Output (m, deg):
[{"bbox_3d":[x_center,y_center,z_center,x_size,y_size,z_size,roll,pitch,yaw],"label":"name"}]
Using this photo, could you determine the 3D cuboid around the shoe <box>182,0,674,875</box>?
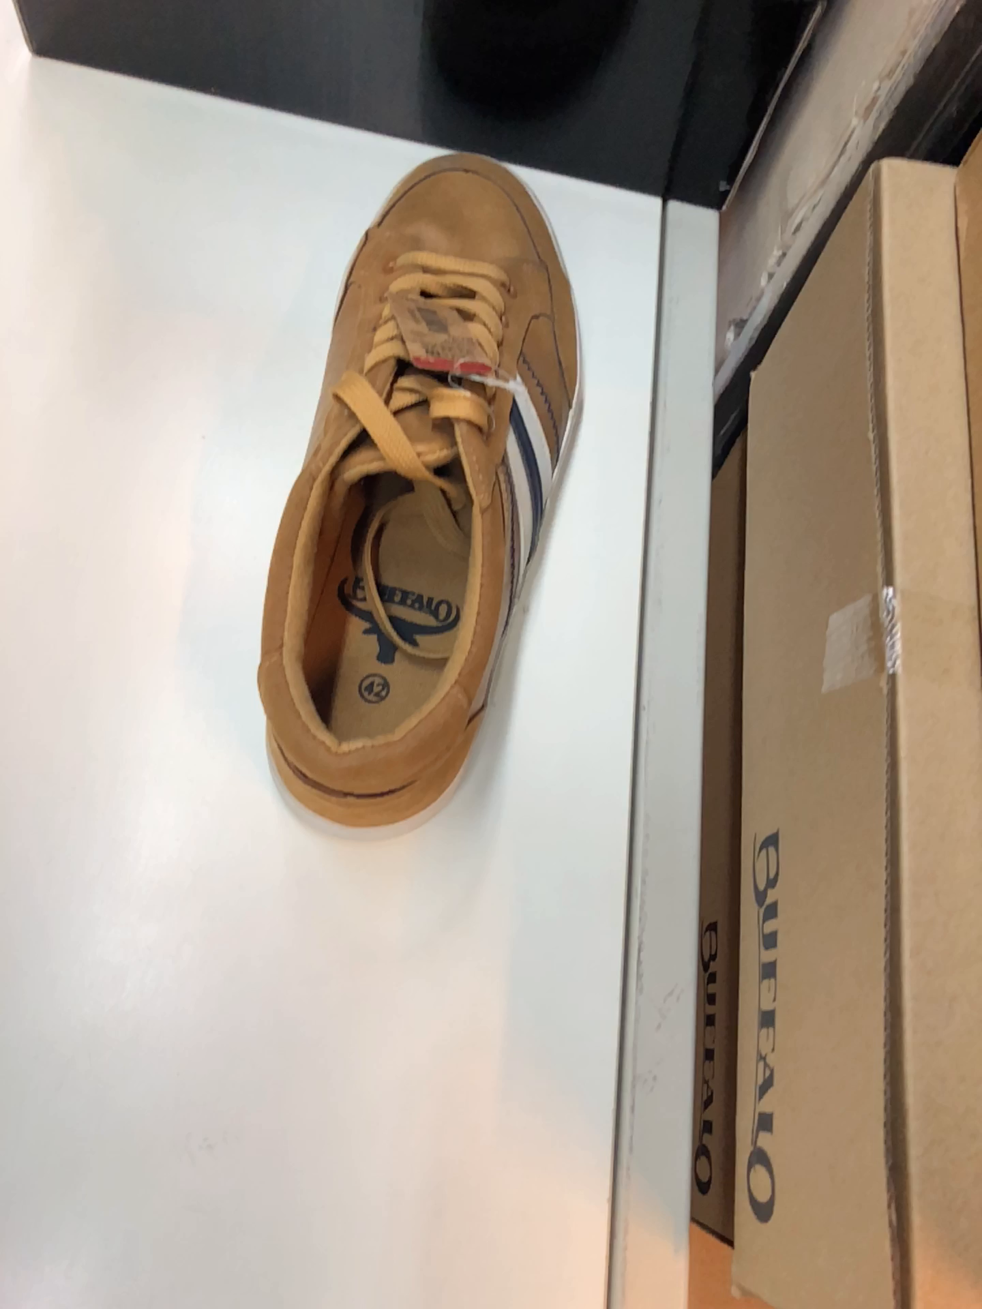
[{"bbox_3d":[-0.014,-0.084,0.384,0.105,0.104,0.295,11,70,-5],"label":"shoe"}]
